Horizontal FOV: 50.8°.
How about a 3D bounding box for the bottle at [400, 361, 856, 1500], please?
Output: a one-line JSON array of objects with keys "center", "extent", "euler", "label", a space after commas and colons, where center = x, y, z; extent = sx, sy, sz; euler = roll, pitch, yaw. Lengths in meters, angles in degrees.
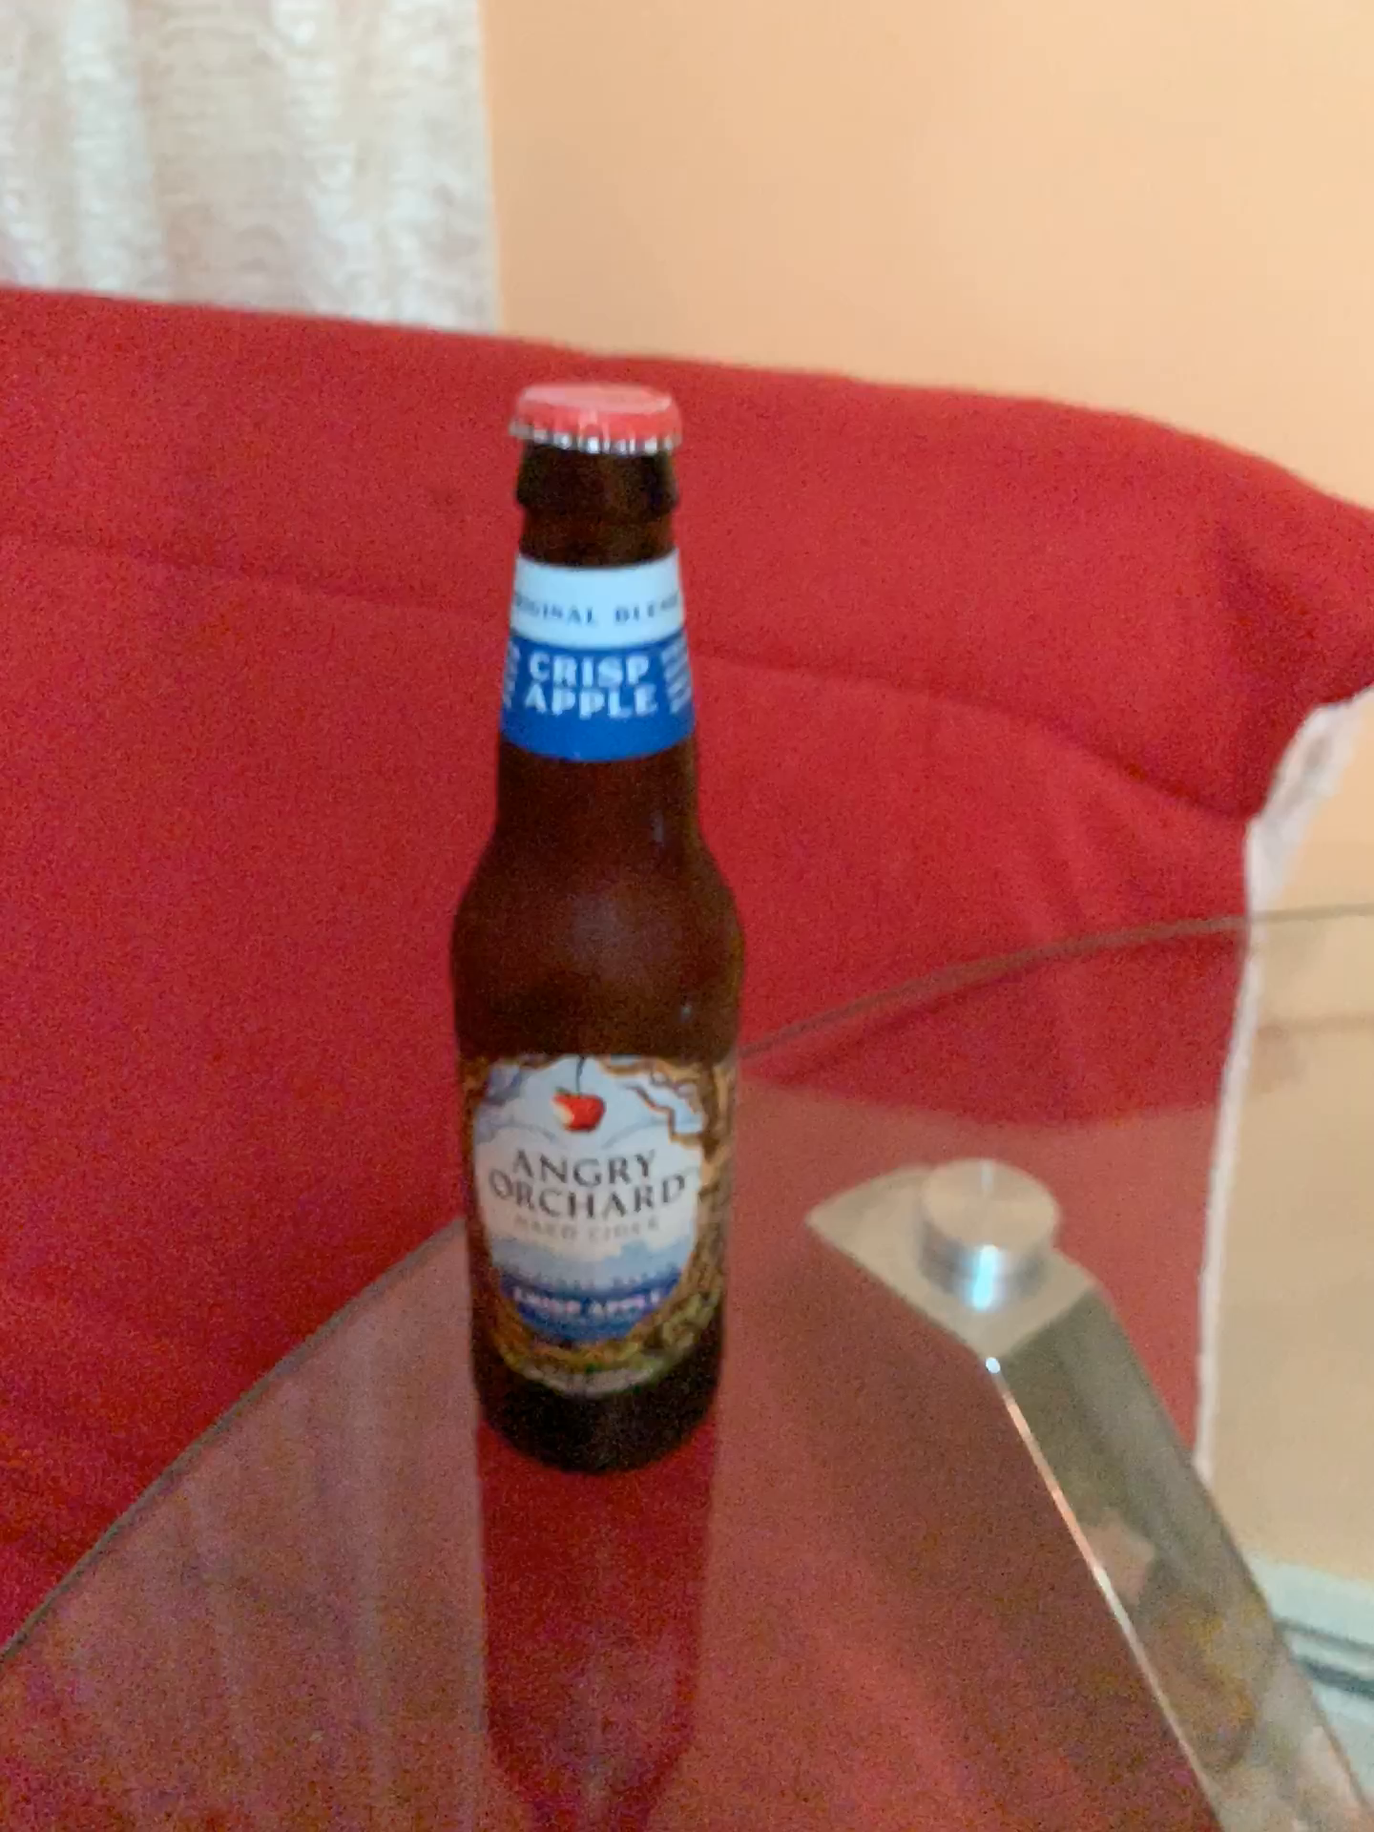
[{"center": [-0.015, 0.012, 0.305], "extent": [0.070, 0.231, 0.070], "euler": [3, 27, -1], "label": "bottle"}]
